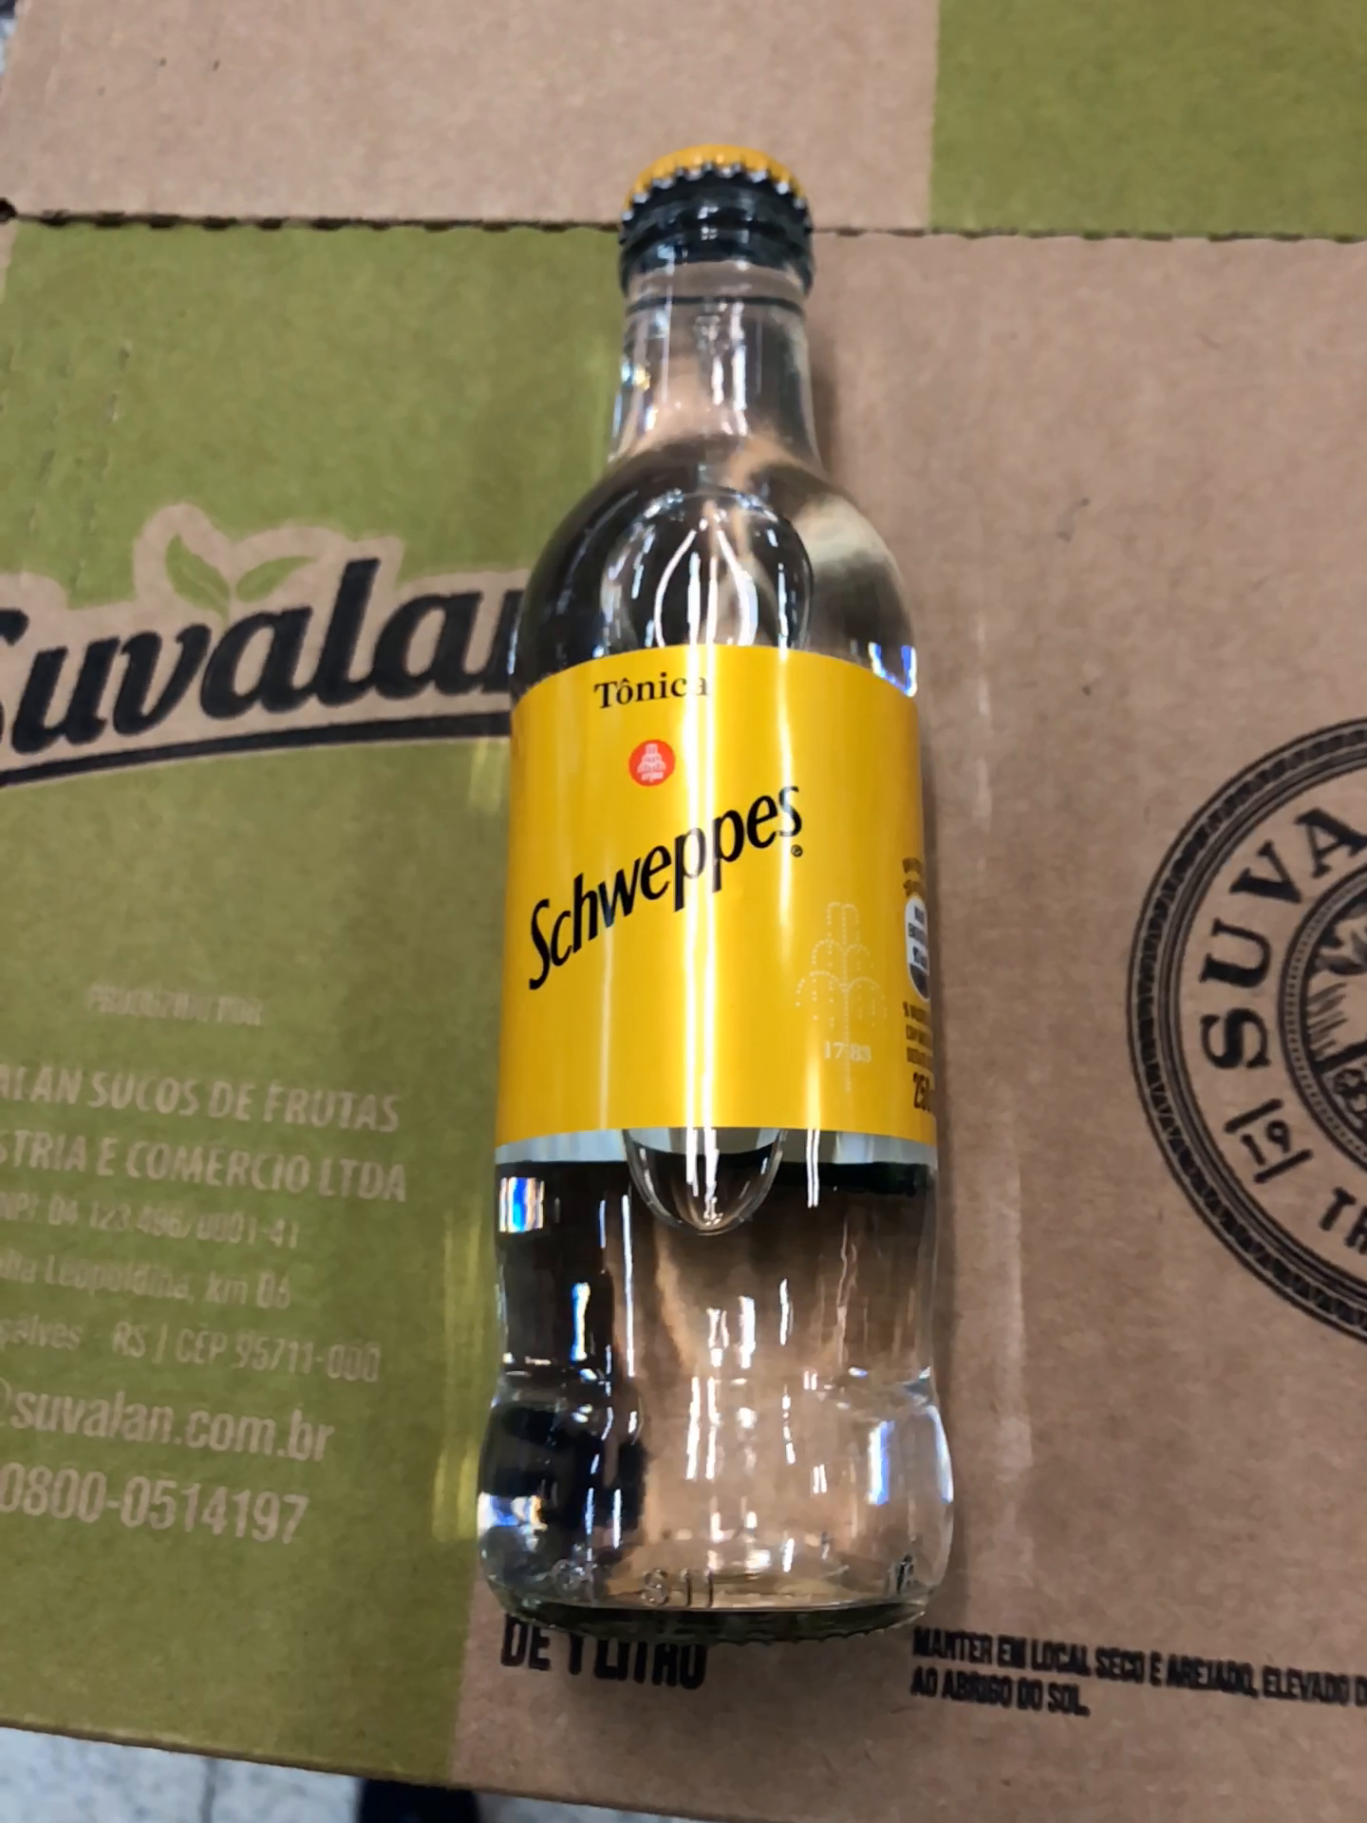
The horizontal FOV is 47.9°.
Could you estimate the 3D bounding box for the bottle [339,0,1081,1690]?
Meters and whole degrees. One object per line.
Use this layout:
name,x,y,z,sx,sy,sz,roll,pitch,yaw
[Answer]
bottle,0.003,-0.033,0.211,0.070,0.070,0.240,-2,74,4
